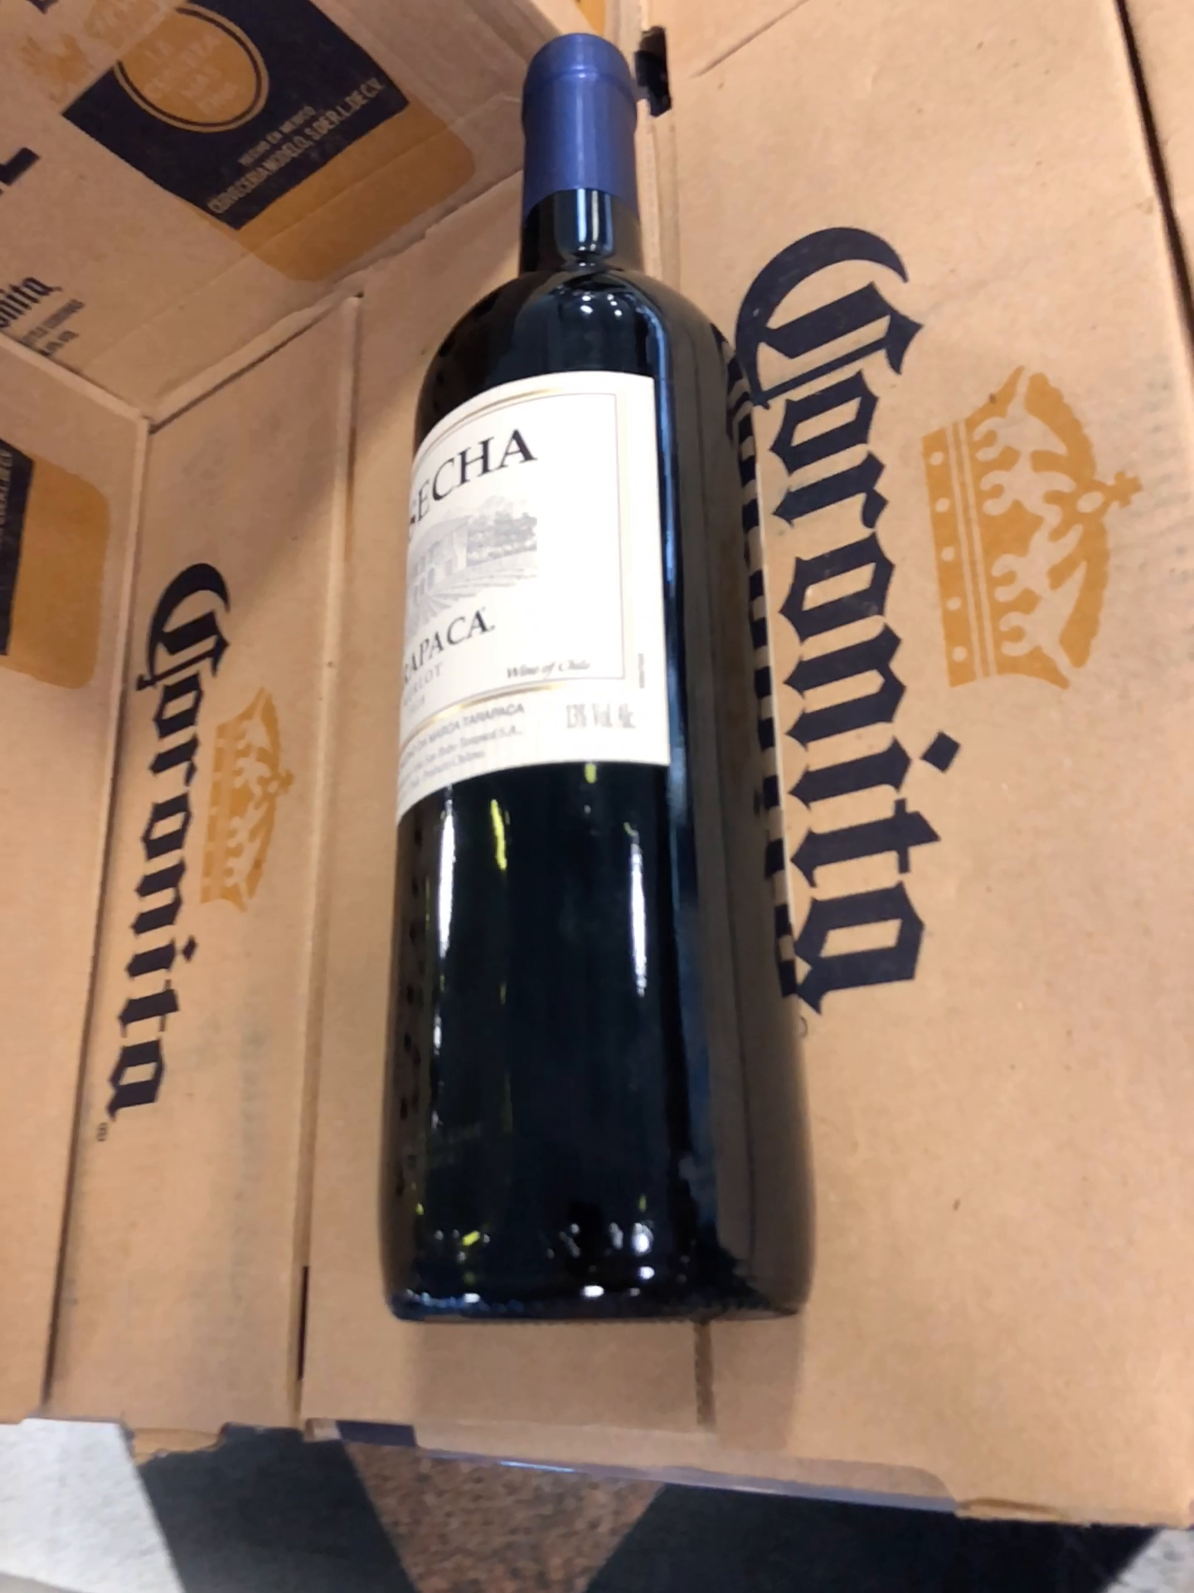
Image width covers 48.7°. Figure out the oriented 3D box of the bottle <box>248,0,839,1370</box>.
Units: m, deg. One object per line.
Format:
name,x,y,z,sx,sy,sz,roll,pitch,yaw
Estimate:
bottle,-0.009,-0.062,0.279,0.070,0.060,0.331,-14,59,23
